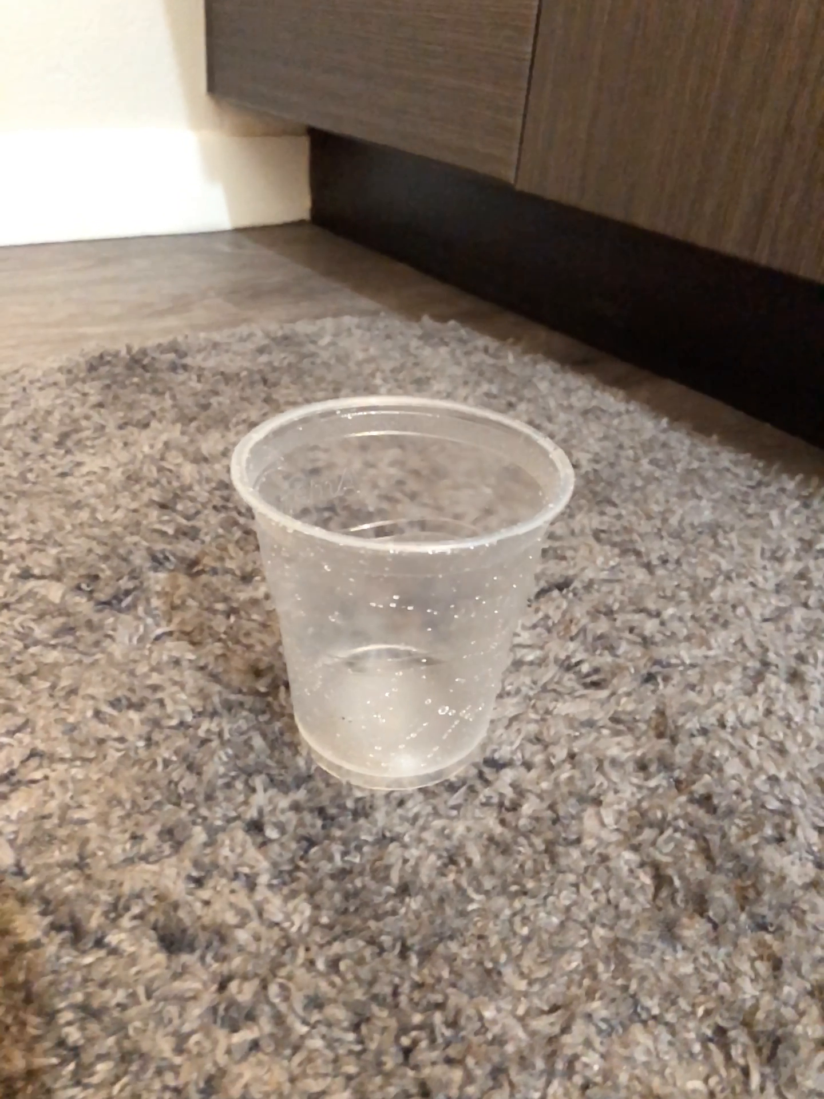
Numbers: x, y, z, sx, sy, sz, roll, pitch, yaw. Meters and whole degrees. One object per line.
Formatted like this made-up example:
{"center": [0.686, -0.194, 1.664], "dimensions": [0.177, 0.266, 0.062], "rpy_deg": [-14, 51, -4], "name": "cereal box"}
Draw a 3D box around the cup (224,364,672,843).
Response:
{"center": [0.000, 0.008, 0.256], "dimensions": [0.090, 0.090, 0.090], "rpy_deg": [4, 30, -3], "name": "cup"}
